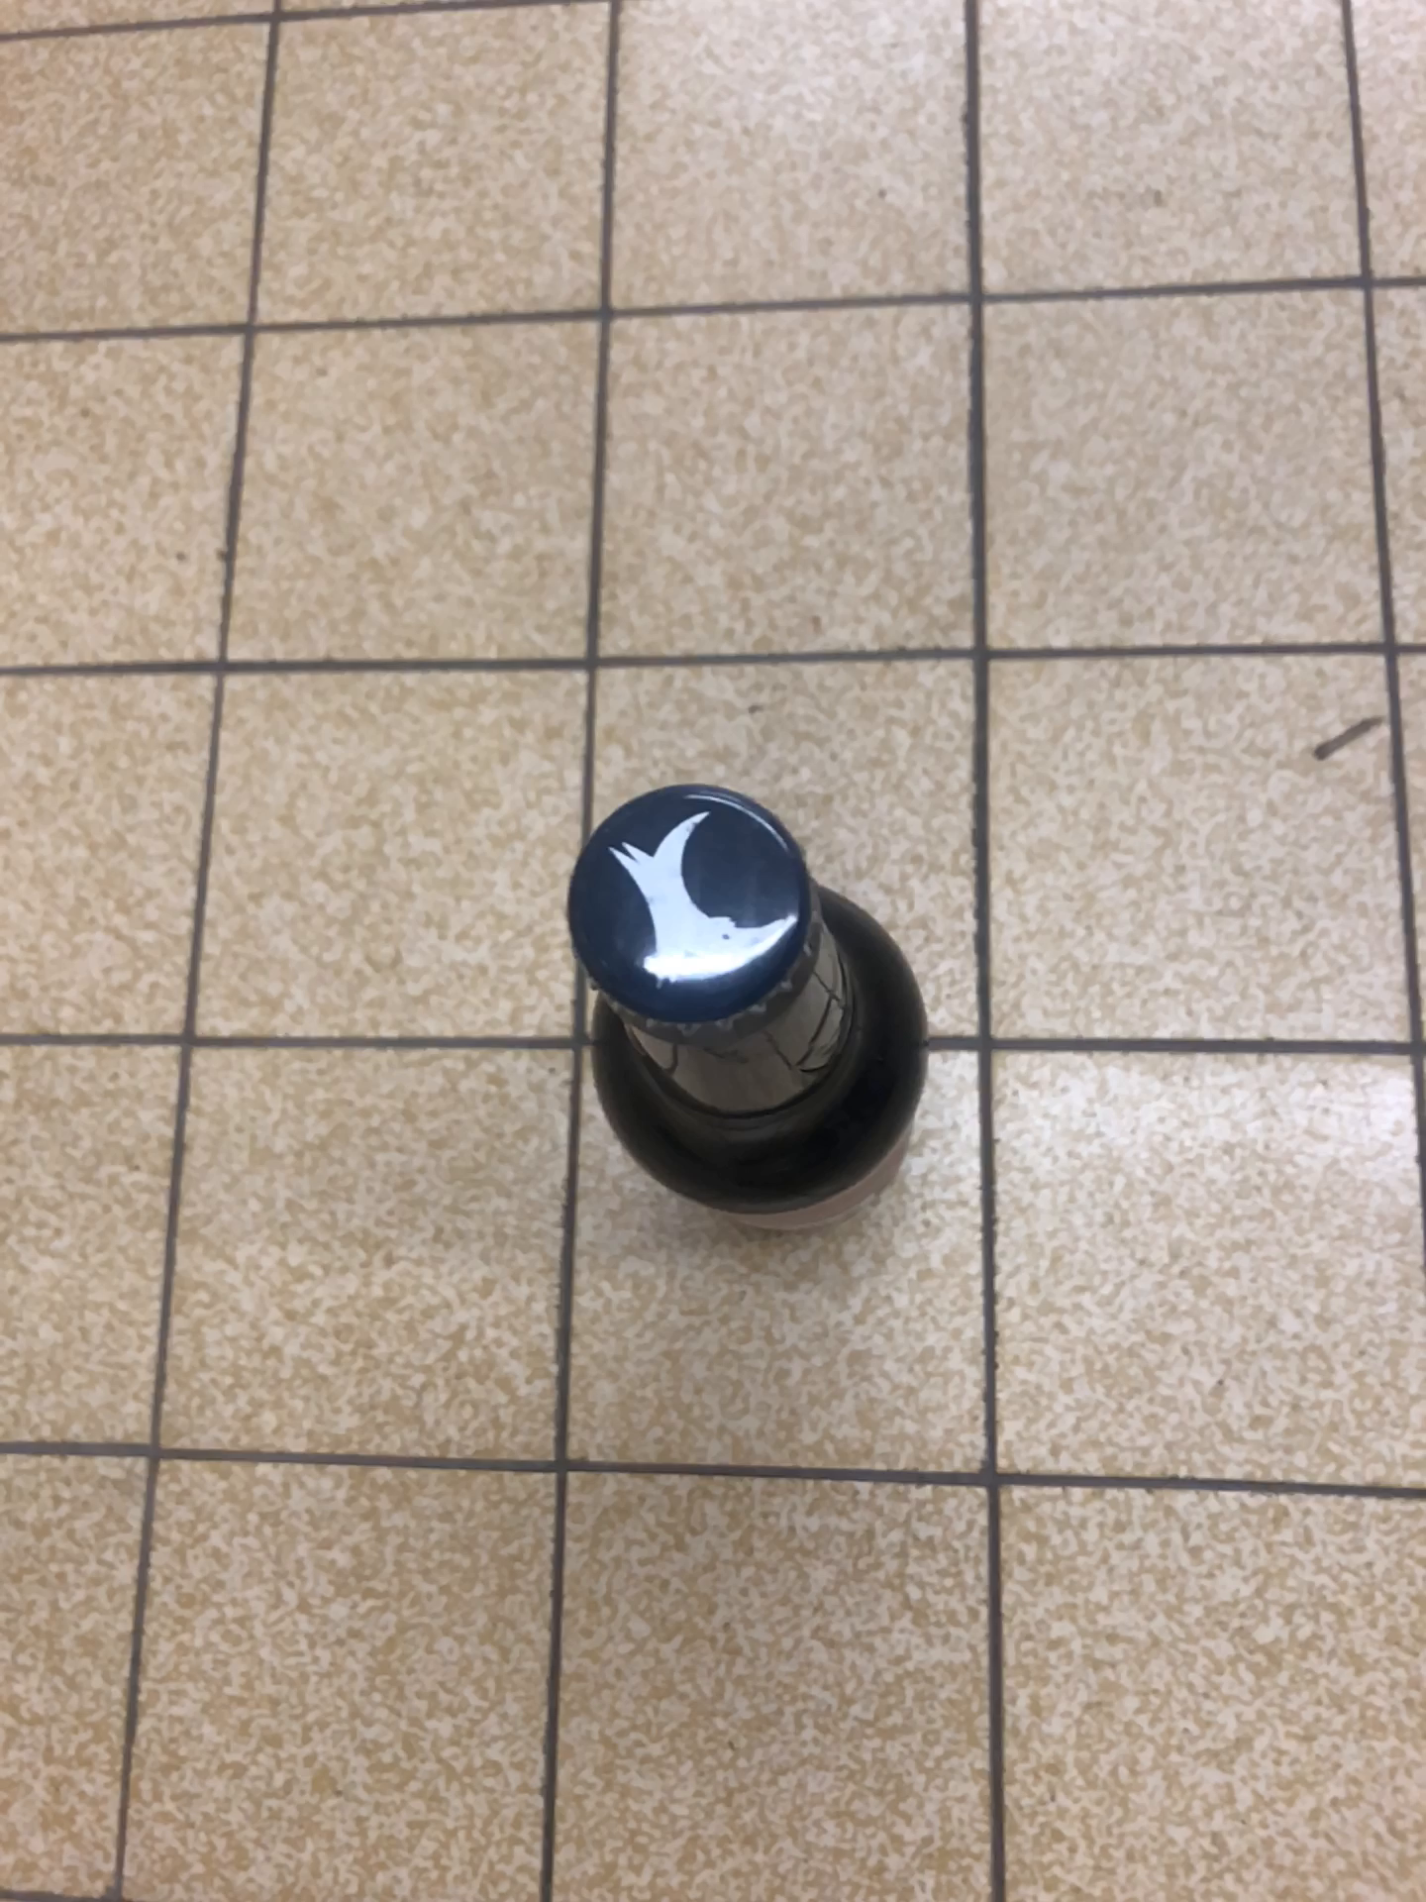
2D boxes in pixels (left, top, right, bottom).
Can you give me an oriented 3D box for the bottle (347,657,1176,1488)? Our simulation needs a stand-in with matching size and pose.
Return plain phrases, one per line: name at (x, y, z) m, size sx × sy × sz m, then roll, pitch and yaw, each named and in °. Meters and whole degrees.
bottle at (0.014, 0.032, 0.272) m, size 0.070 × 0.210 × 0.070 m, roll -1°, pitch 79°, yaw 6°
